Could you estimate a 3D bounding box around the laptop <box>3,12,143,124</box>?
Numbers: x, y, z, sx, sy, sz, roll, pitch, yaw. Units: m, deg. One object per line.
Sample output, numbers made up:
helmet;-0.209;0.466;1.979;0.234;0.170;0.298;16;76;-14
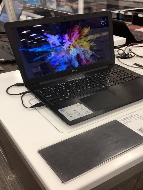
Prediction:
laptop;0.073;-0.121;0.619;0.404;0.222;0.309;-21;41;-25
